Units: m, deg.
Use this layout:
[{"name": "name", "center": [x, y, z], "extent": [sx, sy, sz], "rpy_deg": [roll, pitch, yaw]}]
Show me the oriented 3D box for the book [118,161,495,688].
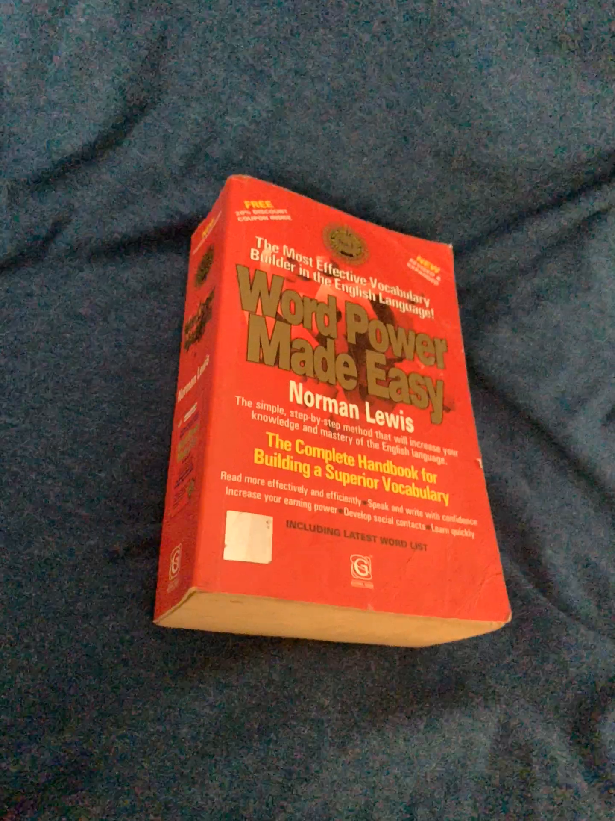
[{"name": "book", "center": [0.007, 0.003, 0.268], "extent": [0.120, 0.050, 0.191], "rpy_deg": [18, 57, -22]}]
